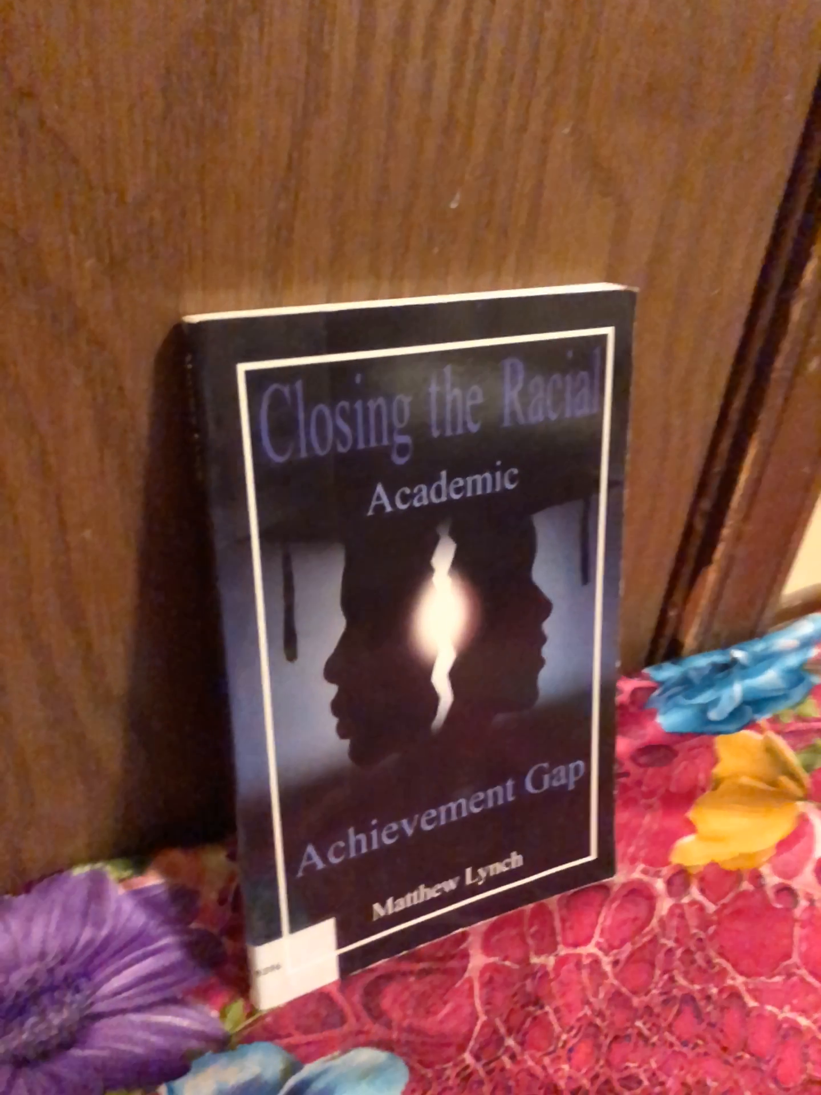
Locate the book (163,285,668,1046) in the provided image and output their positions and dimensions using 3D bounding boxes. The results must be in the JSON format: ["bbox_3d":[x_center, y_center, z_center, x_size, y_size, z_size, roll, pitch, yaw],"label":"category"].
[{"bbox_3d":[0.007,0.037,0.303,0.146,0.230,0.036,-11,24,-26],"label":"book"}]
